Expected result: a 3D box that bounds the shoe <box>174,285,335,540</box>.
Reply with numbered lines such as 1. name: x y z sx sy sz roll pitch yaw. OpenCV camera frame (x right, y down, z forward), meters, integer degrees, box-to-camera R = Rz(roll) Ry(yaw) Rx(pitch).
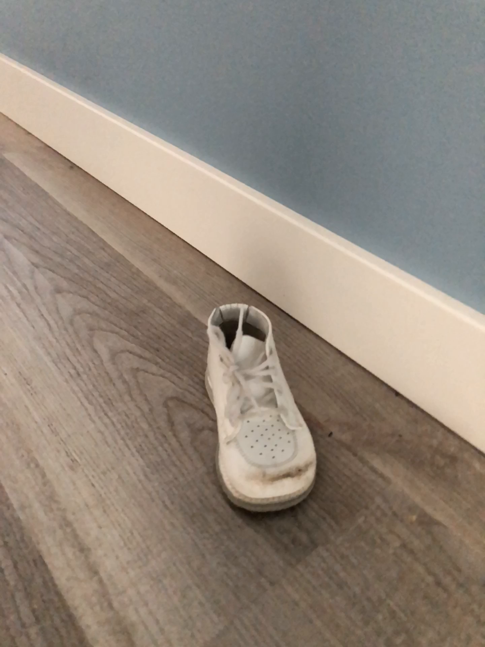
1. shoe: -0.002 0.045 0.334 0.060 0.060 0.151 -6 38 -12
